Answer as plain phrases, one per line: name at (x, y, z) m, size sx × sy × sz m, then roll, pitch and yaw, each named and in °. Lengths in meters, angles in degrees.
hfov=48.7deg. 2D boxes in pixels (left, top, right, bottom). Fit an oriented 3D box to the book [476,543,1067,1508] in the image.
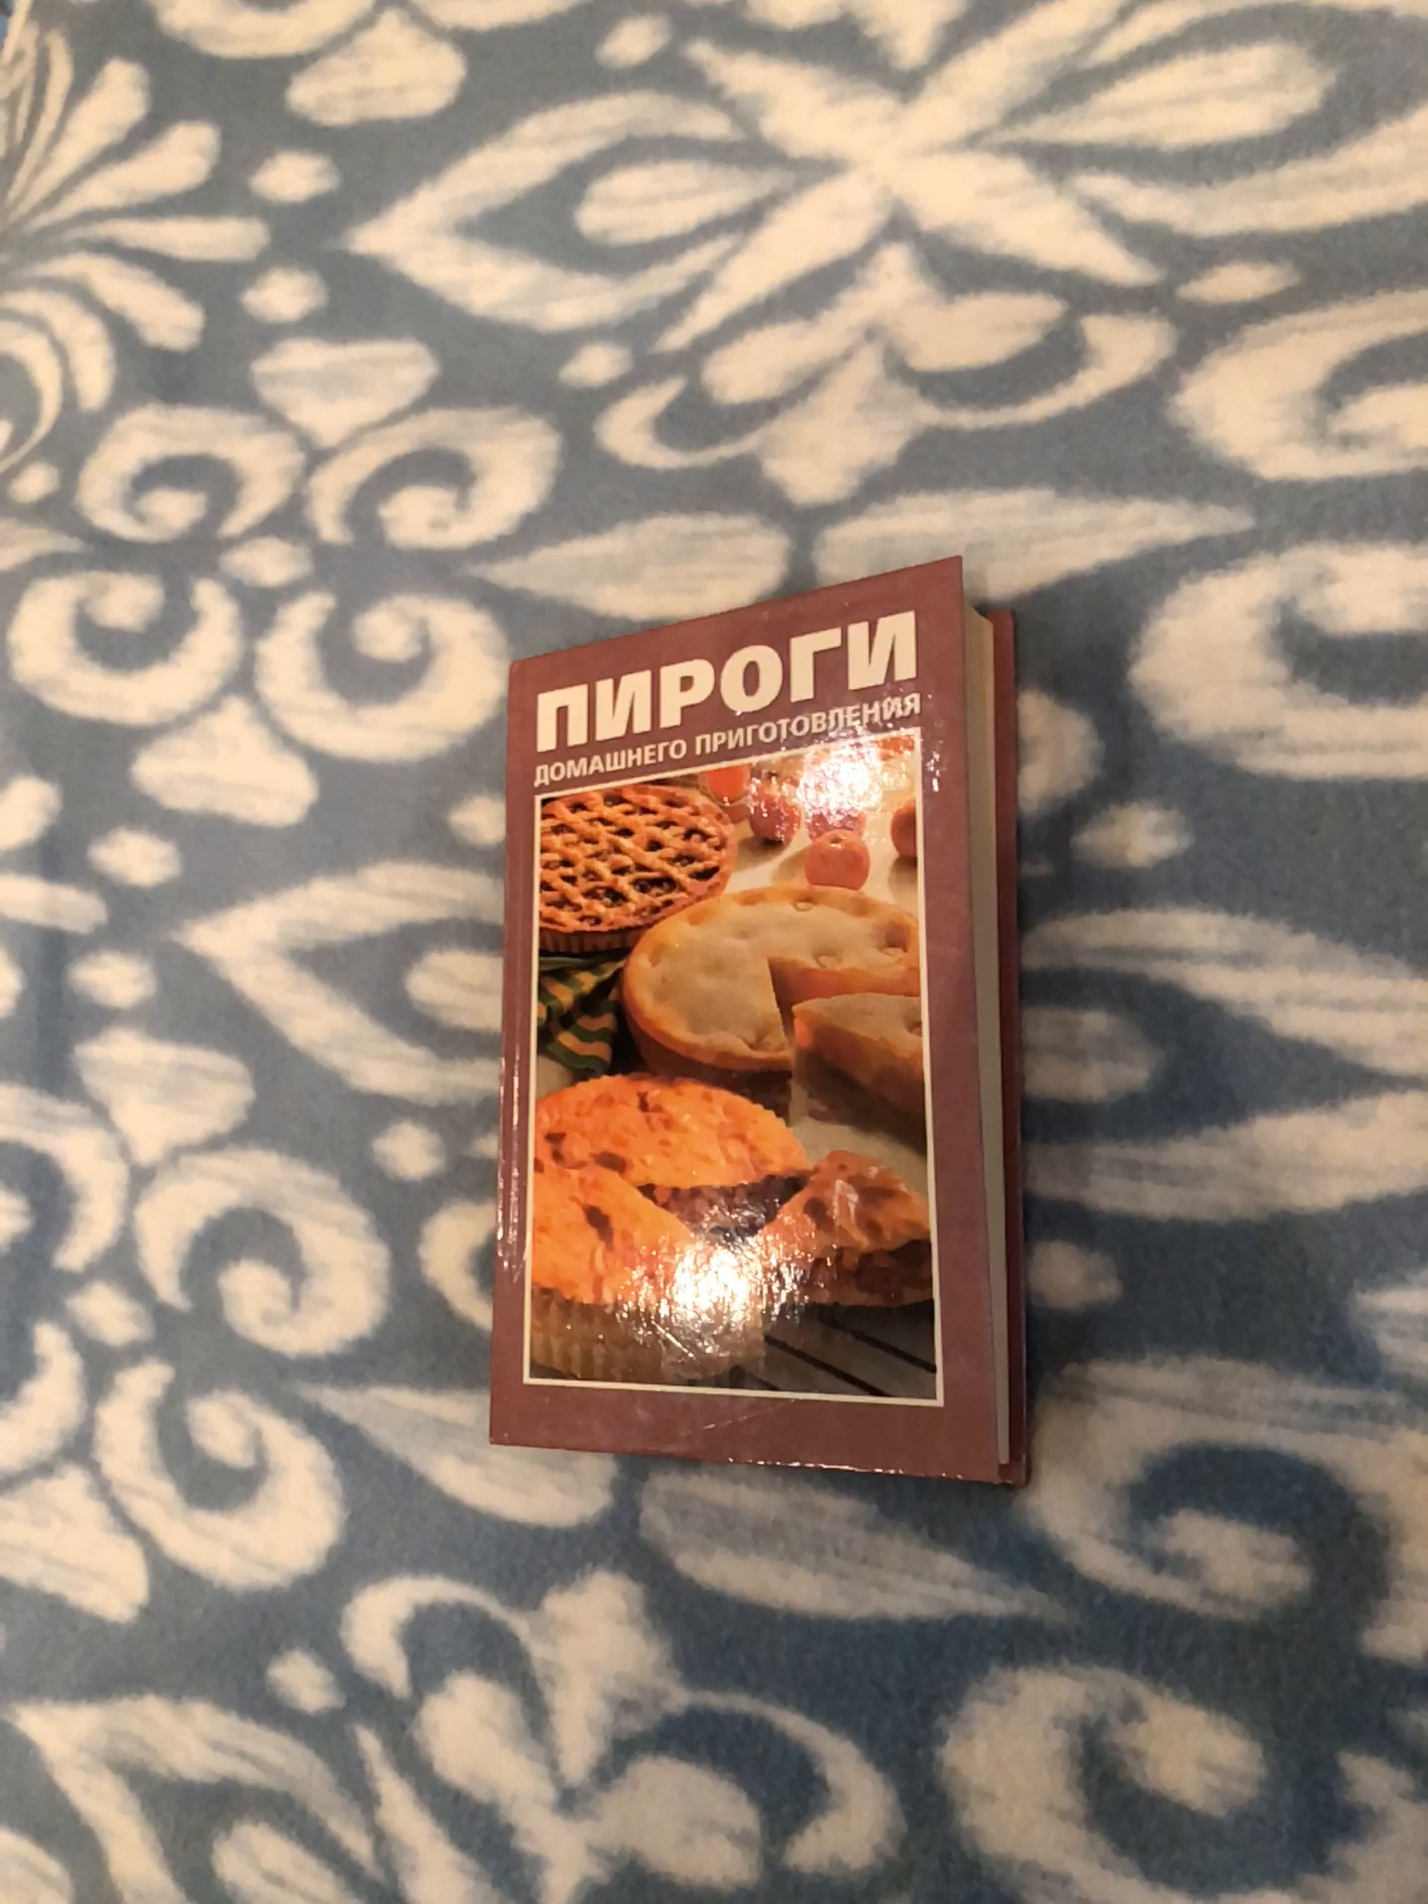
book at (0.010, 0.018, 0.376) m, size 0.131 × 0.040 × 0.201 m, roll -6°, pitch 79°, yaw 30°
